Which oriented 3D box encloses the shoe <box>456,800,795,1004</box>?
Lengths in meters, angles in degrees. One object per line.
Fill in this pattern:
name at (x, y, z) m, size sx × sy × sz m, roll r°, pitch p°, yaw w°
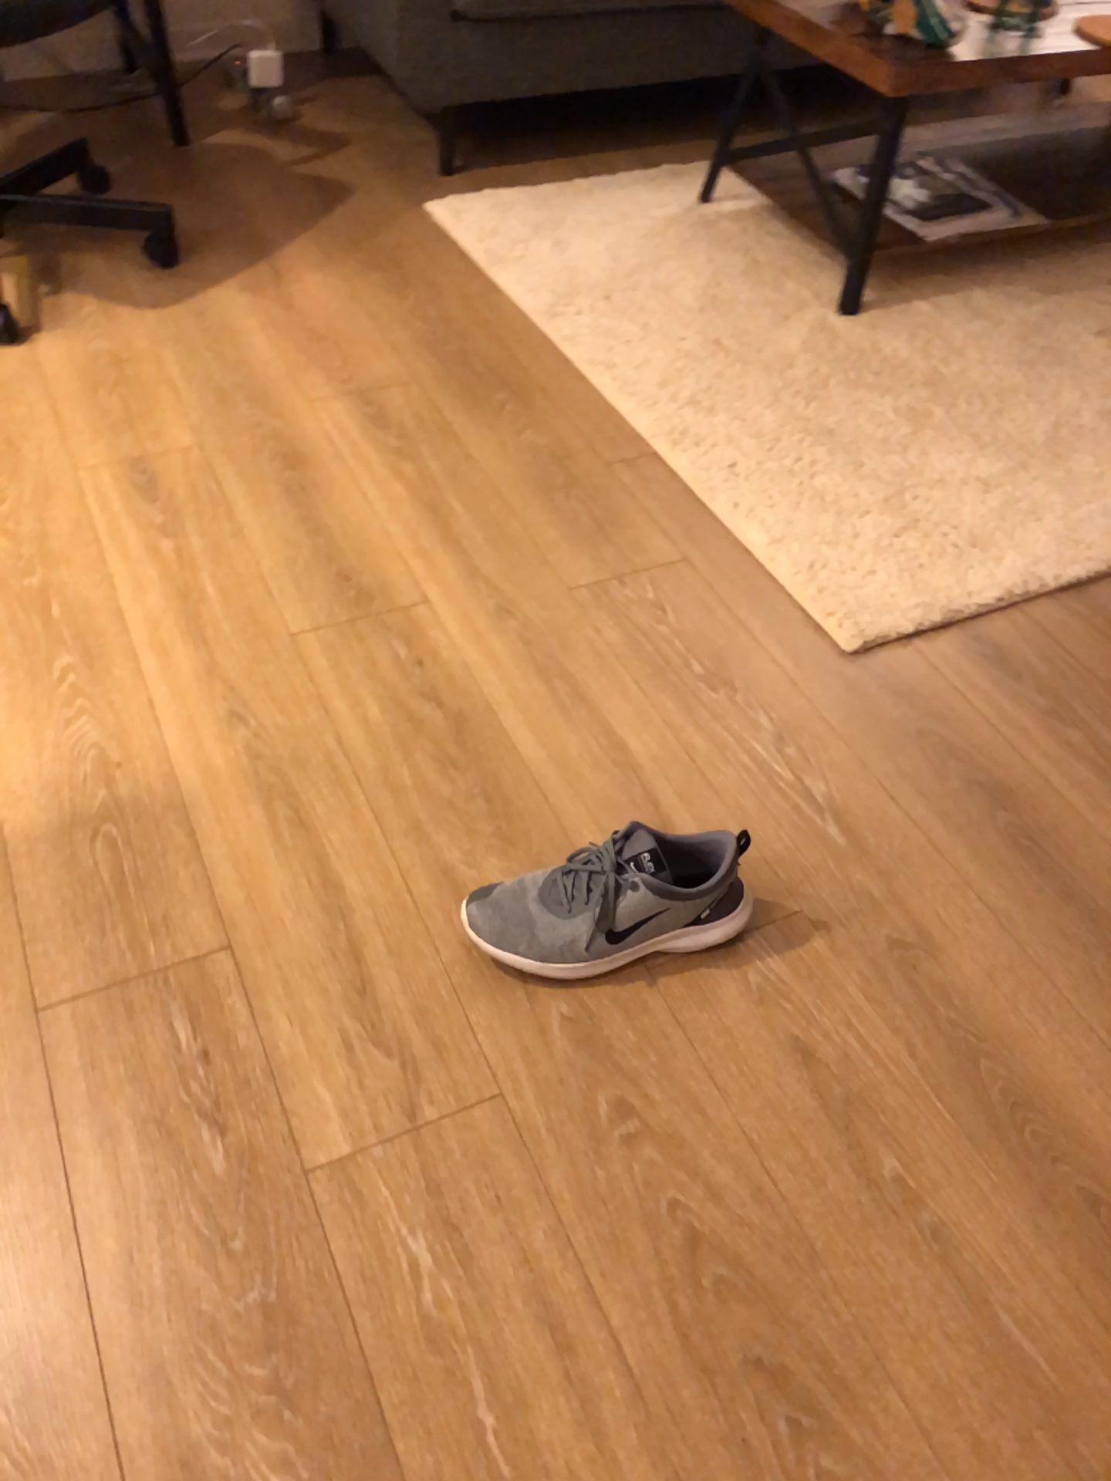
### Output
shoe at (0.061, 0.154, 1.191) m, size 0.300 × 0.090 × 0.141 m, roll -5°, pitch 46°, yaw -9°
